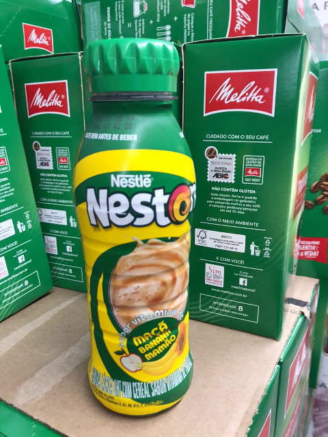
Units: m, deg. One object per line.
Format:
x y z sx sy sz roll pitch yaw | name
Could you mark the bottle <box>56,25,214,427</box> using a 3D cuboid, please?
-0.013 0.006 0.190 0.060 0.179 0.060 -1 15 0 | bottle
